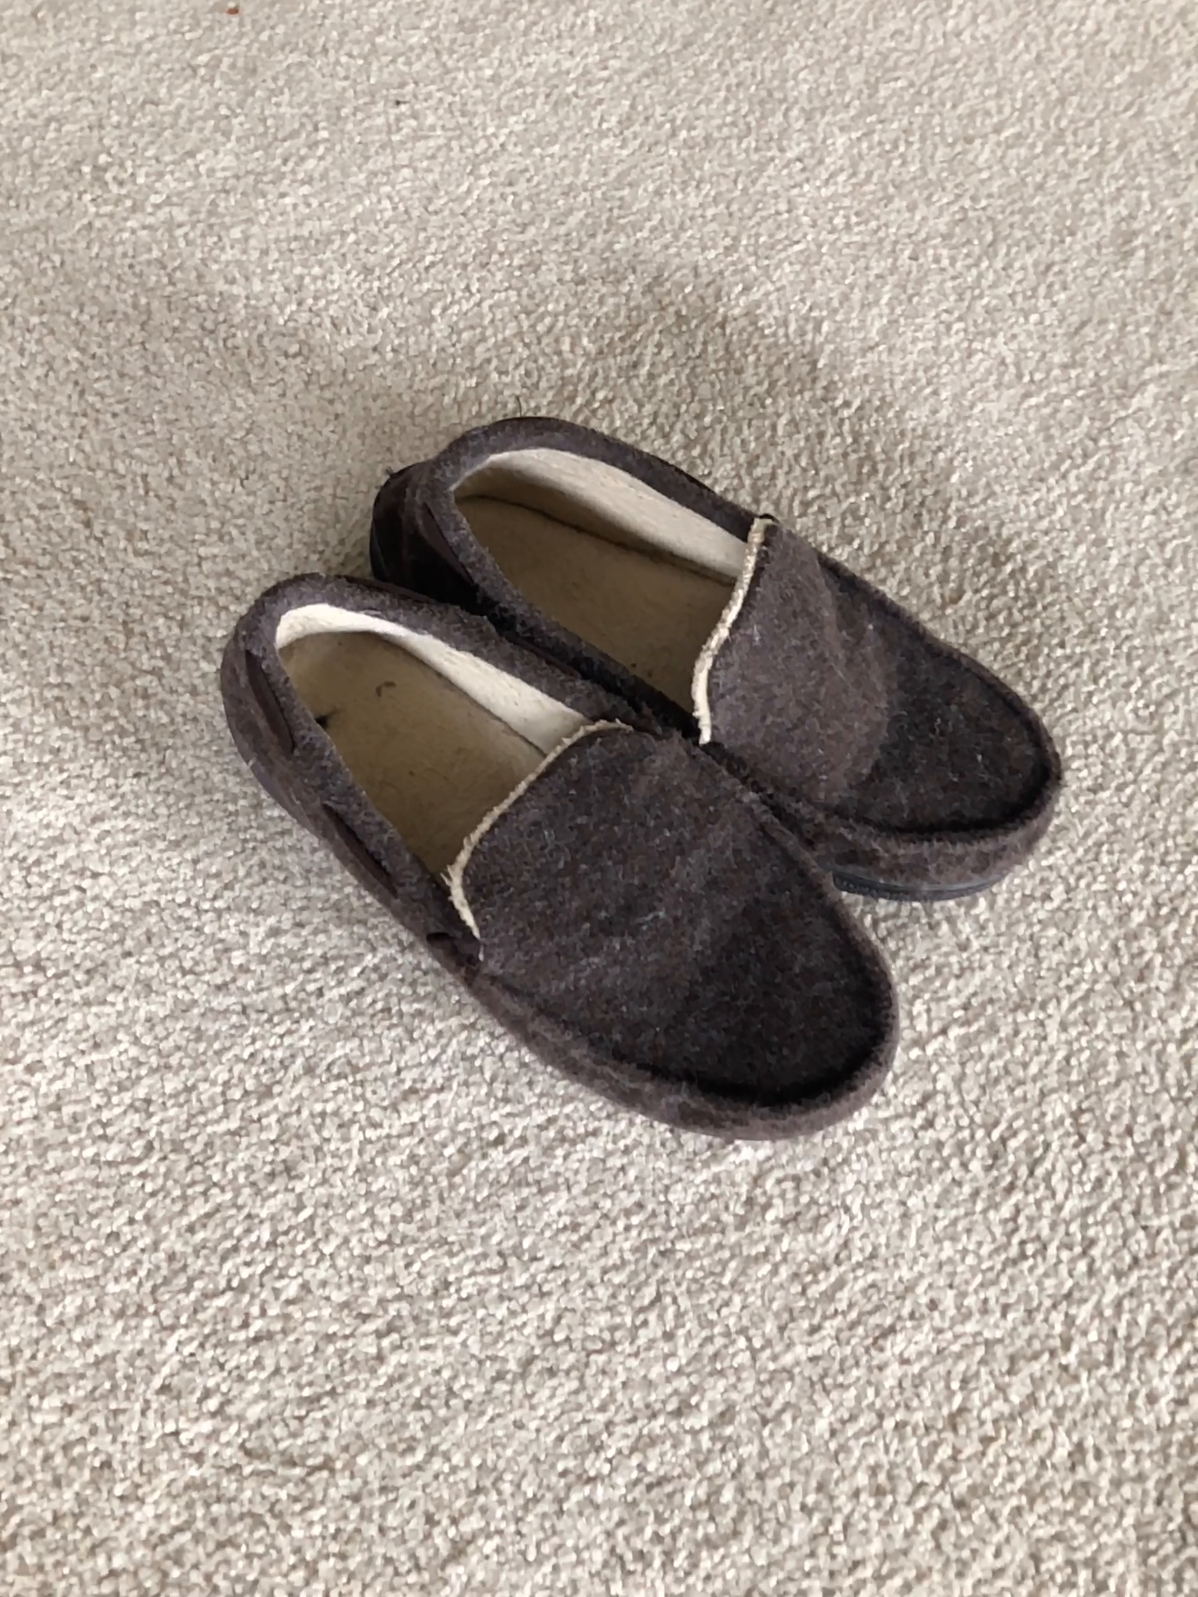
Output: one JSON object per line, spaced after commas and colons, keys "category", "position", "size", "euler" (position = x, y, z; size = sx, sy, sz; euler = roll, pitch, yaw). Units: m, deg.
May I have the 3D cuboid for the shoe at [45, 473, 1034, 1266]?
{"category": "shoe", "position": [-0.023, 0.028, 0.483], "size": [0.317, 0.096, 0.120], "euler": [32, 69, 6]}

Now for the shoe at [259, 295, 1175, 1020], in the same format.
{"category": "shoe", "position": [0.040, -0.053, 0.517], "size": [0.316, 0.096, 0.119], "euler": [30, 69, 5]}
